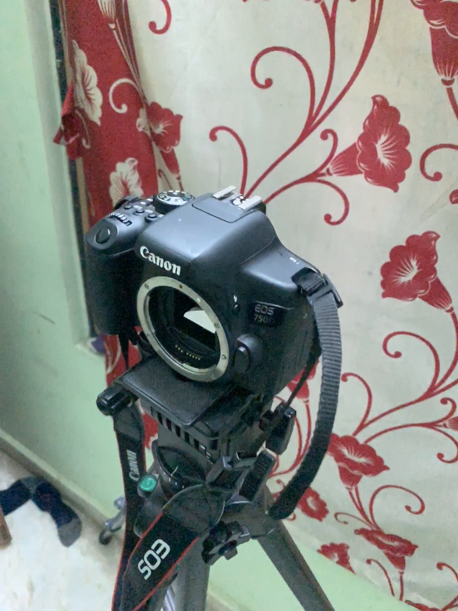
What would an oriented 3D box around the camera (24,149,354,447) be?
[{"bbox_3d":[-0.024,-0.015,0.261,0.142,0.088,0.085,26,41,26],"label":"camera"}]
